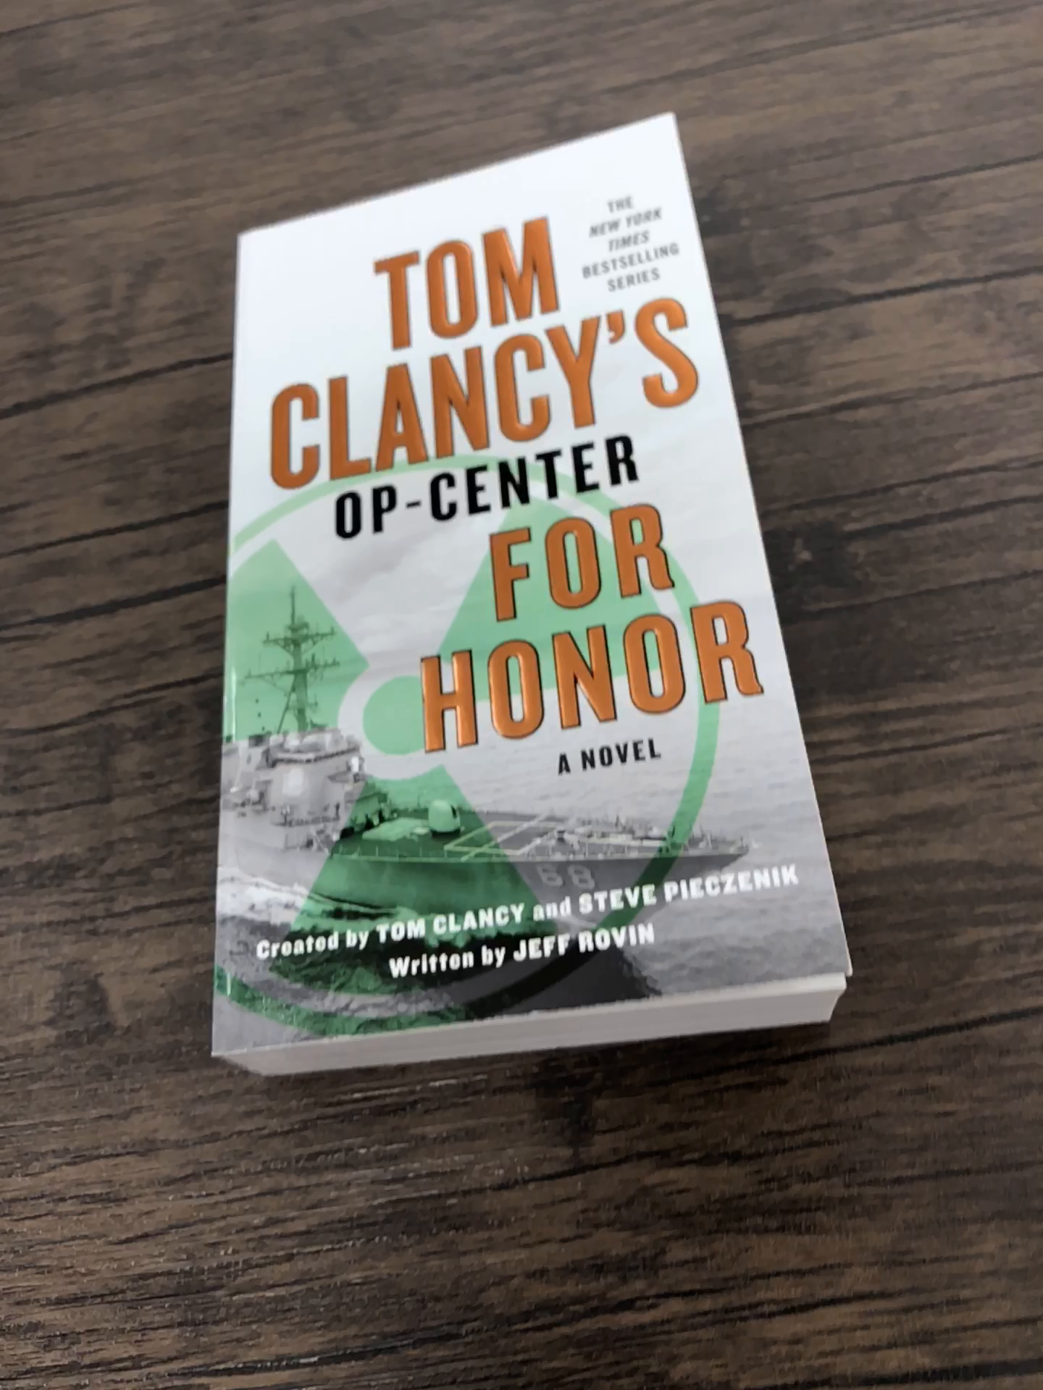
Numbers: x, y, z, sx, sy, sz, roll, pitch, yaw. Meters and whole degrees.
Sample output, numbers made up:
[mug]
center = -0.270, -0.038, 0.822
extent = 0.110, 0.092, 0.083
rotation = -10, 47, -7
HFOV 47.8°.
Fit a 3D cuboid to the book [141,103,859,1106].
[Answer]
[book]
center = -0.010, -0.025, 0.239
extent = 0.113, 0.040, 0.190
rotation = -10, 63, 9
